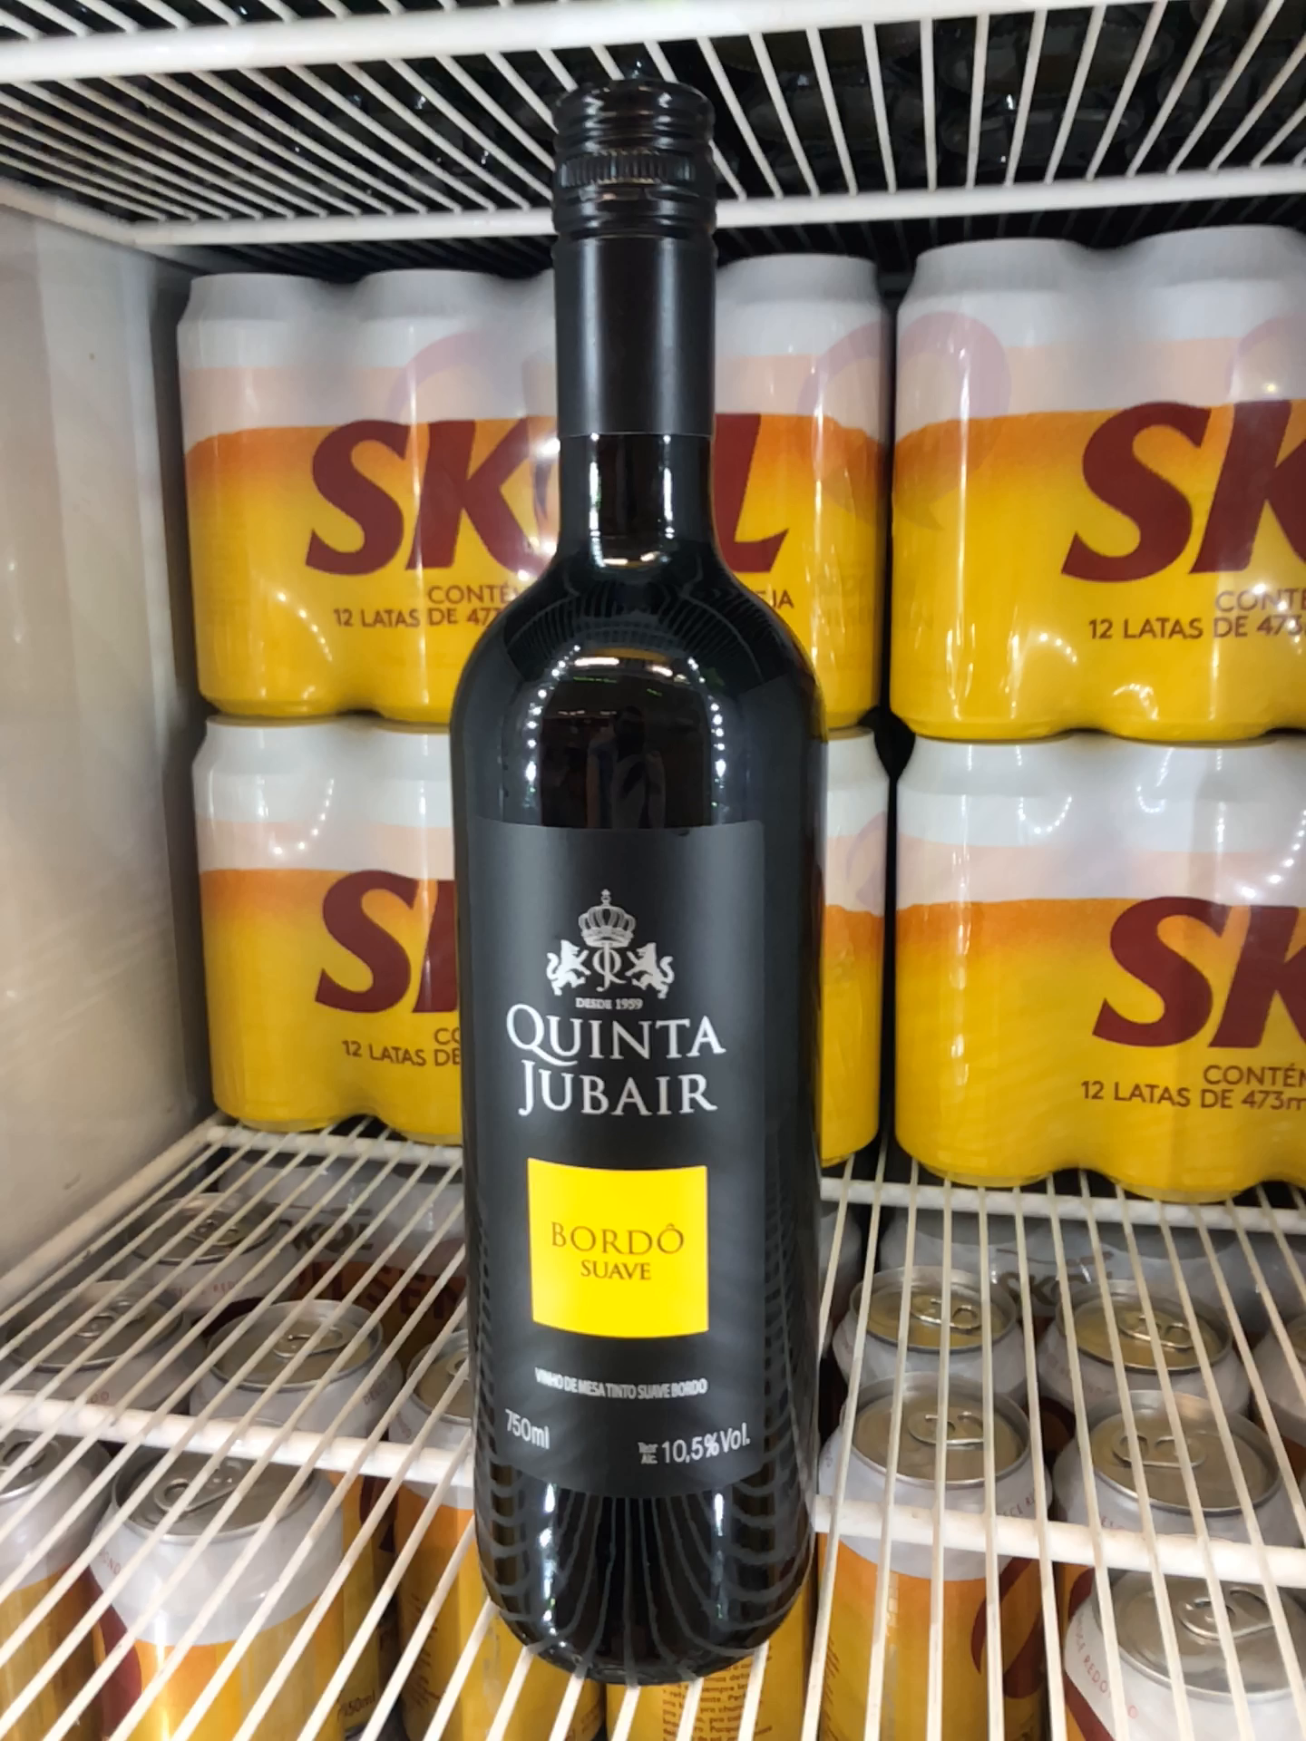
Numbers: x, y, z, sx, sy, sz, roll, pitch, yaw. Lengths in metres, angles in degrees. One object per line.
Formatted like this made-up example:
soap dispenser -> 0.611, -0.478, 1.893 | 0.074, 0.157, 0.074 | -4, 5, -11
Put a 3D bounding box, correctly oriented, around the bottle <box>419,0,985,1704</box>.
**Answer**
bottle -> 0.016, -0.005, 0.265 | 0.080, 0.289, 0.070 | 2, 12, 13
